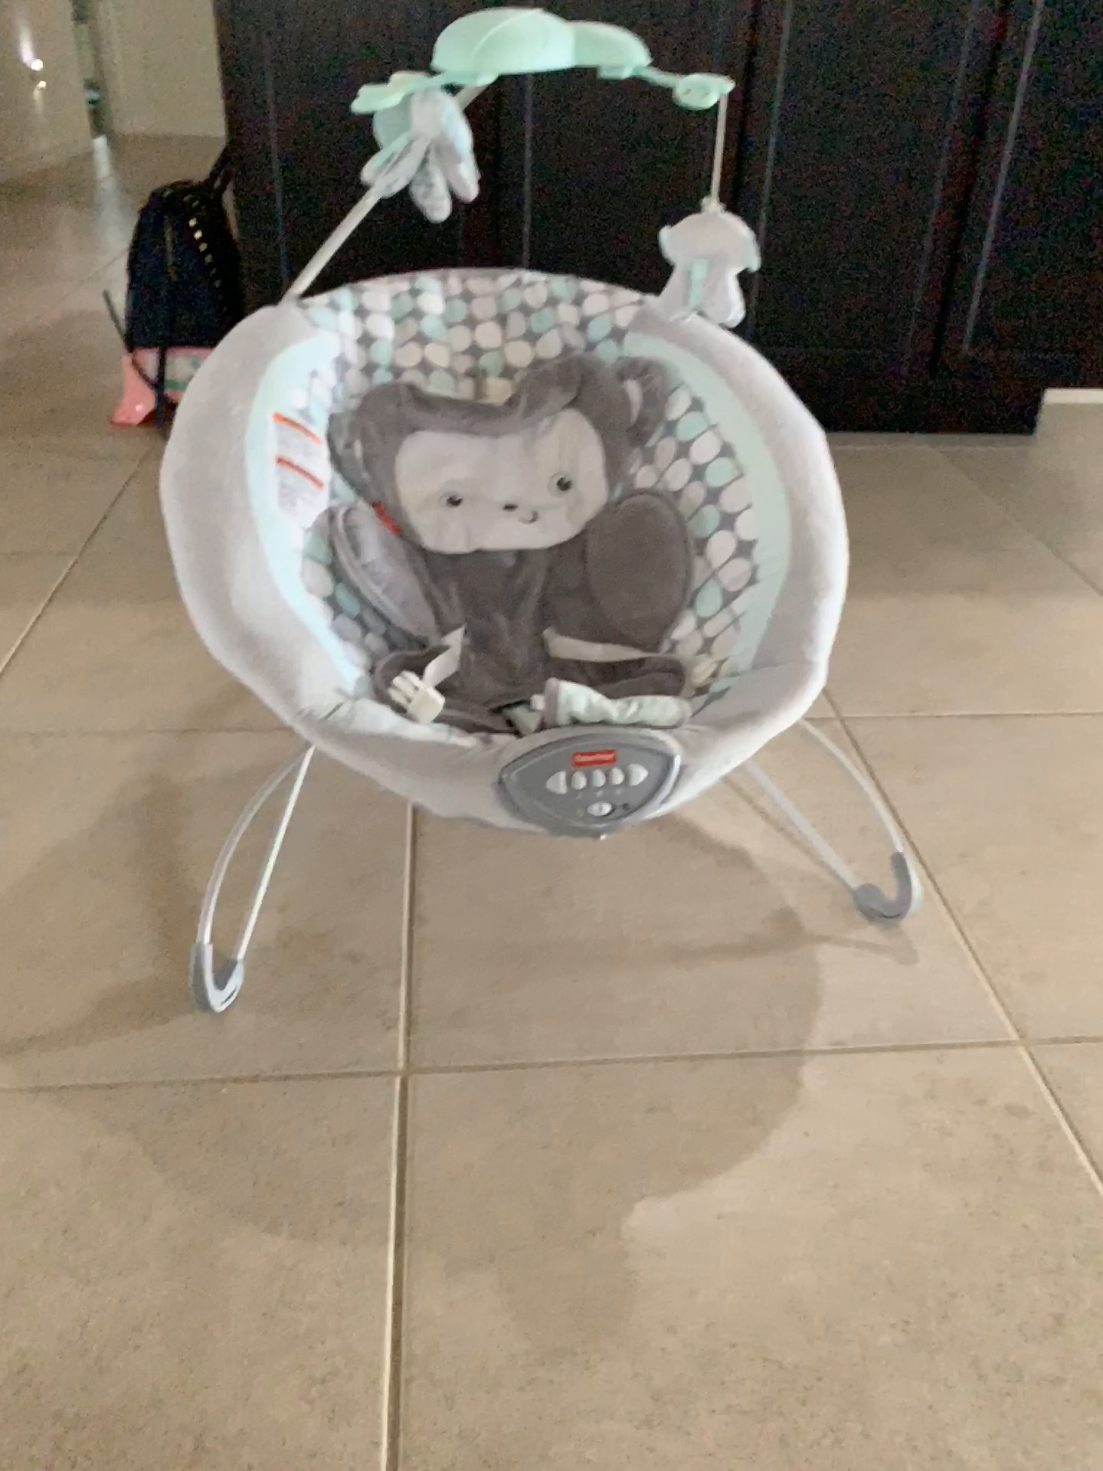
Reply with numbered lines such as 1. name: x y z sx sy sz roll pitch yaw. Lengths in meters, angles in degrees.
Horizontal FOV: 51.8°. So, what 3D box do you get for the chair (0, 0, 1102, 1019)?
1. chair: -0.004 -0.224 0.870 0.571 0.578 0.550 -4 32 -10
